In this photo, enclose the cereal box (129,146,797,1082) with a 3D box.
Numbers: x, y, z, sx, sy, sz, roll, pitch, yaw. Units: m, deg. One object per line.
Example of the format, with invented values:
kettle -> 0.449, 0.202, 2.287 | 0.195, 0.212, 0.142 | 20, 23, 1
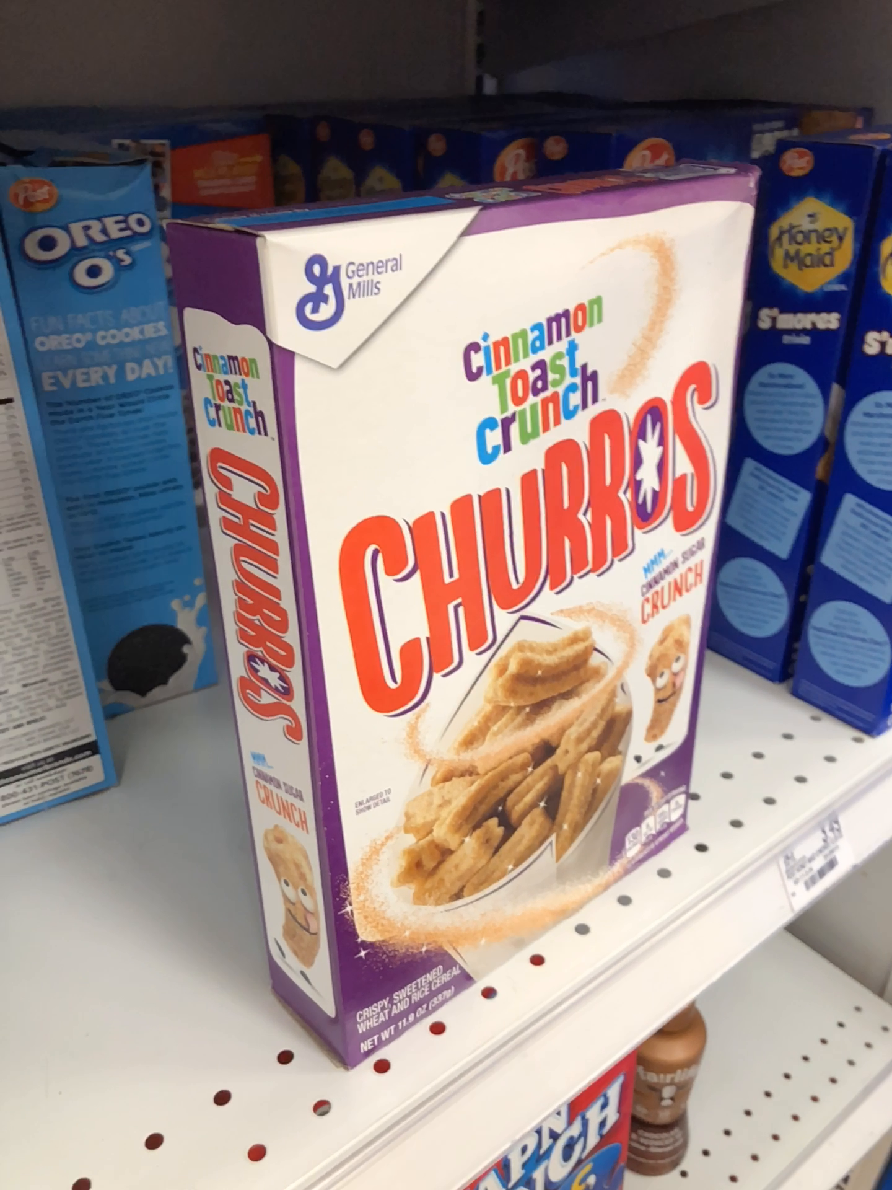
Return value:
cereal box -> 0.018, 0.002, 0.351 | 0.200, 0.279, 0.060 | -22, 35, -34
